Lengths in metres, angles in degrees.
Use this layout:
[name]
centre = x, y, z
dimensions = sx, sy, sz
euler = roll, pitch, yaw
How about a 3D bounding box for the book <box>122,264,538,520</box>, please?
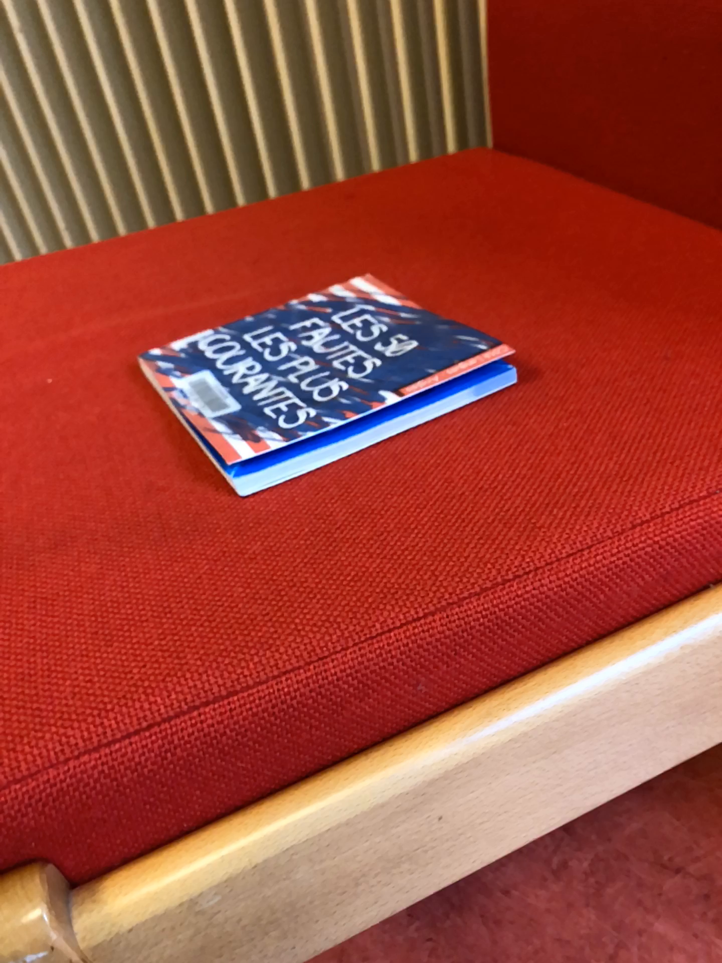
[book]
centre = -0.021, -0.055, 0.387
dimensions = 0.148, 0.020, 0.149
euler = -22, 38, -20
